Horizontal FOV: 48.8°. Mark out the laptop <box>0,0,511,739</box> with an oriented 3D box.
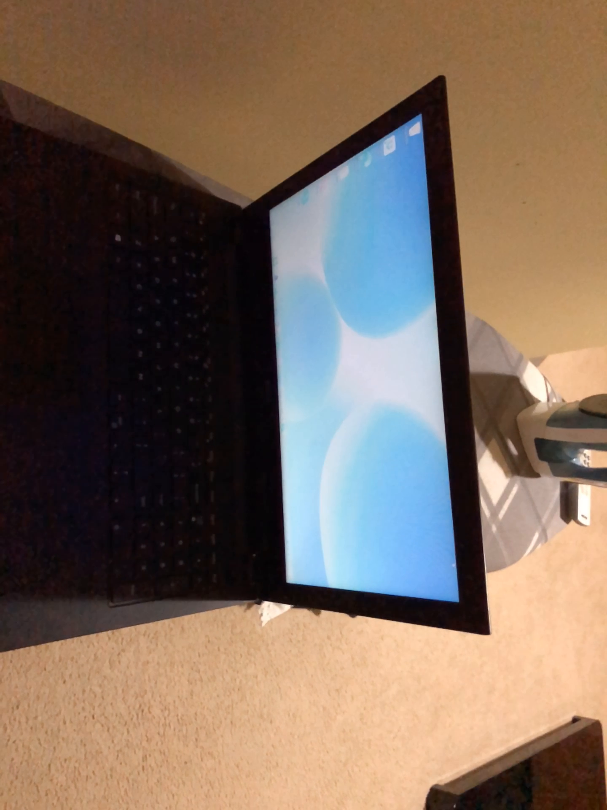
[{"bbox_3d":[-0.049,-0.029,0.434,0.248,0.231,0.352,5,79,-46],"label":"laptop"}]
